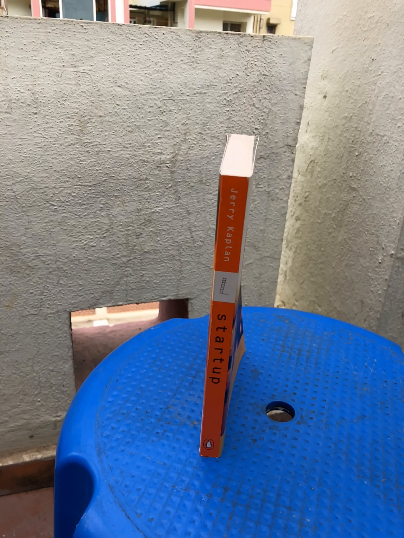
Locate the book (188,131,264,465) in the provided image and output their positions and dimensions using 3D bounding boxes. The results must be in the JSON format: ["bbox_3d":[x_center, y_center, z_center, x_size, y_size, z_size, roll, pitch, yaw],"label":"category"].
[{"bbox_3d":[0.019,0.013,0.330,0.030,0.199,0.141,6,25,5],"label":"book"}]
